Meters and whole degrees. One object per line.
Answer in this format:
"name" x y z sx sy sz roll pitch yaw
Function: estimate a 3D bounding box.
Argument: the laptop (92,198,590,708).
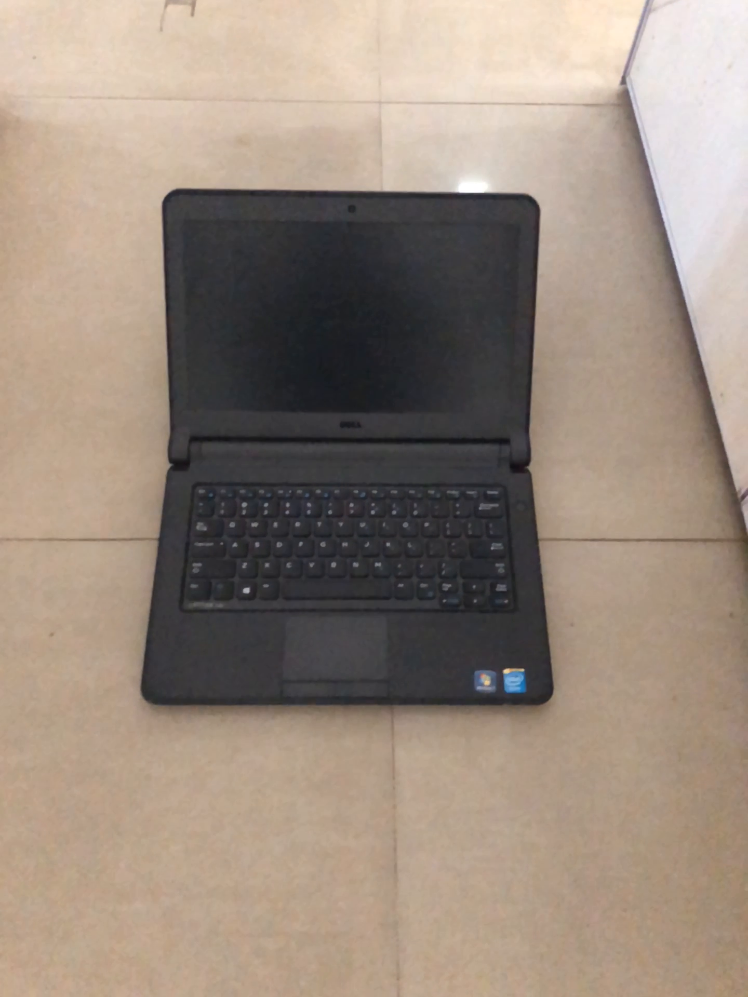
"laptop" -0.021 -0.045 0.677 0.312 0.154 0.394 0 62 -1
